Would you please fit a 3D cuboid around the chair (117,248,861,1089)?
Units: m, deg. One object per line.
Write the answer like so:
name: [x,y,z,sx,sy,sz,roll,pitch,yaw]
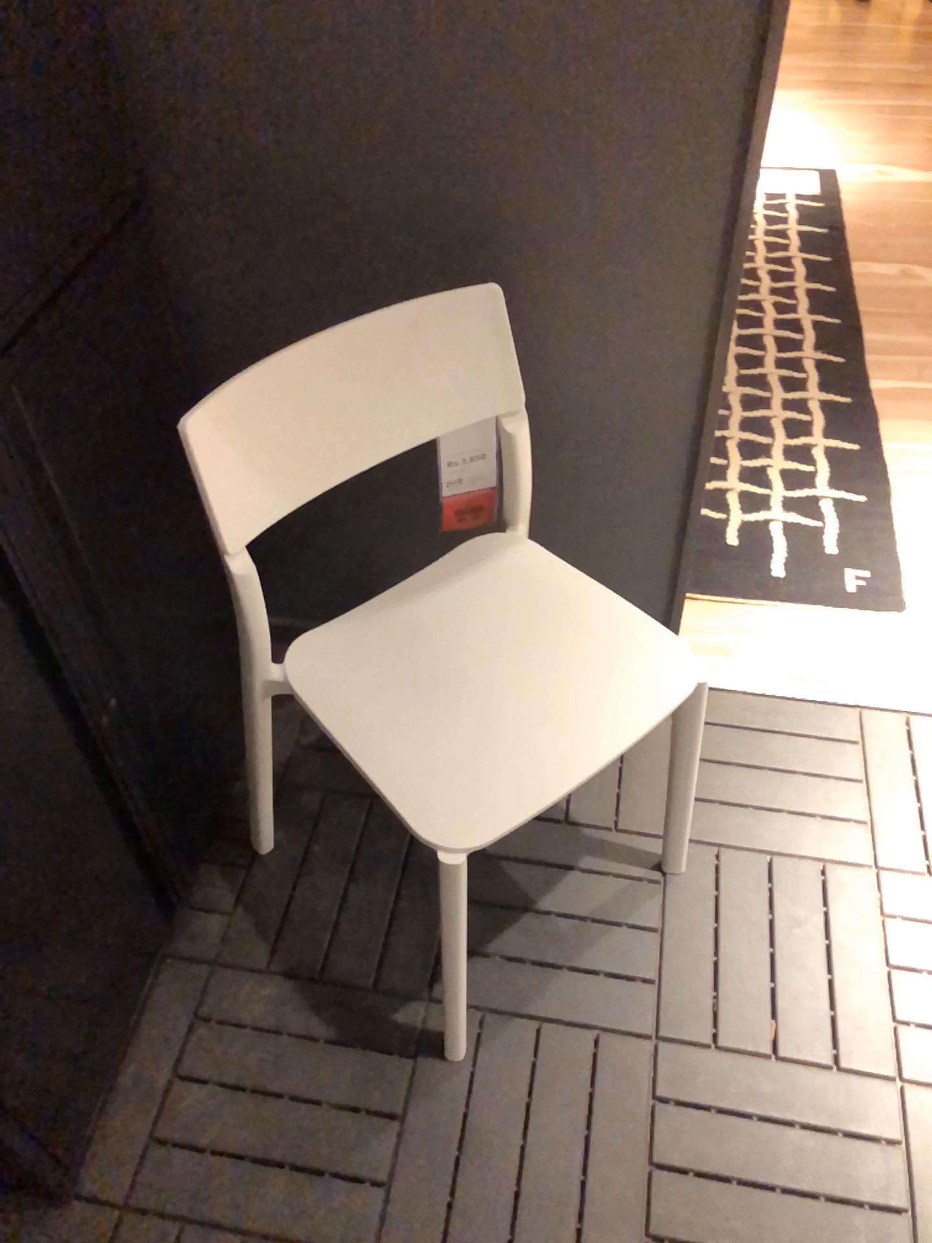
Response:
chair: [0.021,0.060,1.194,0.501,0.705,0.472,-31,52,-25]
